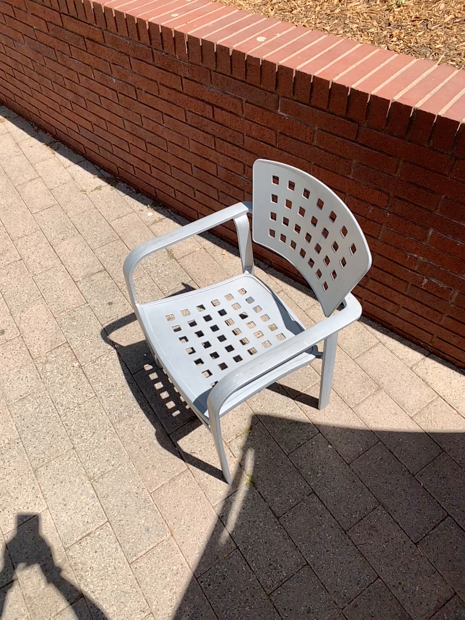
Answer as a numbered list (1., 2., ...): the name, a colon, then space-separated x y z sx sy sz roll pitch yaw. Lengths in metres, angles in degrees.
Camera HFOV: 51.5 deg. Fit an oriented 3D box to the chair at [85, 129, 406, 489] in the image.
1. chair: 0.015 0.010 1.366 0.498 0.698 0.563 -28 55 -19
